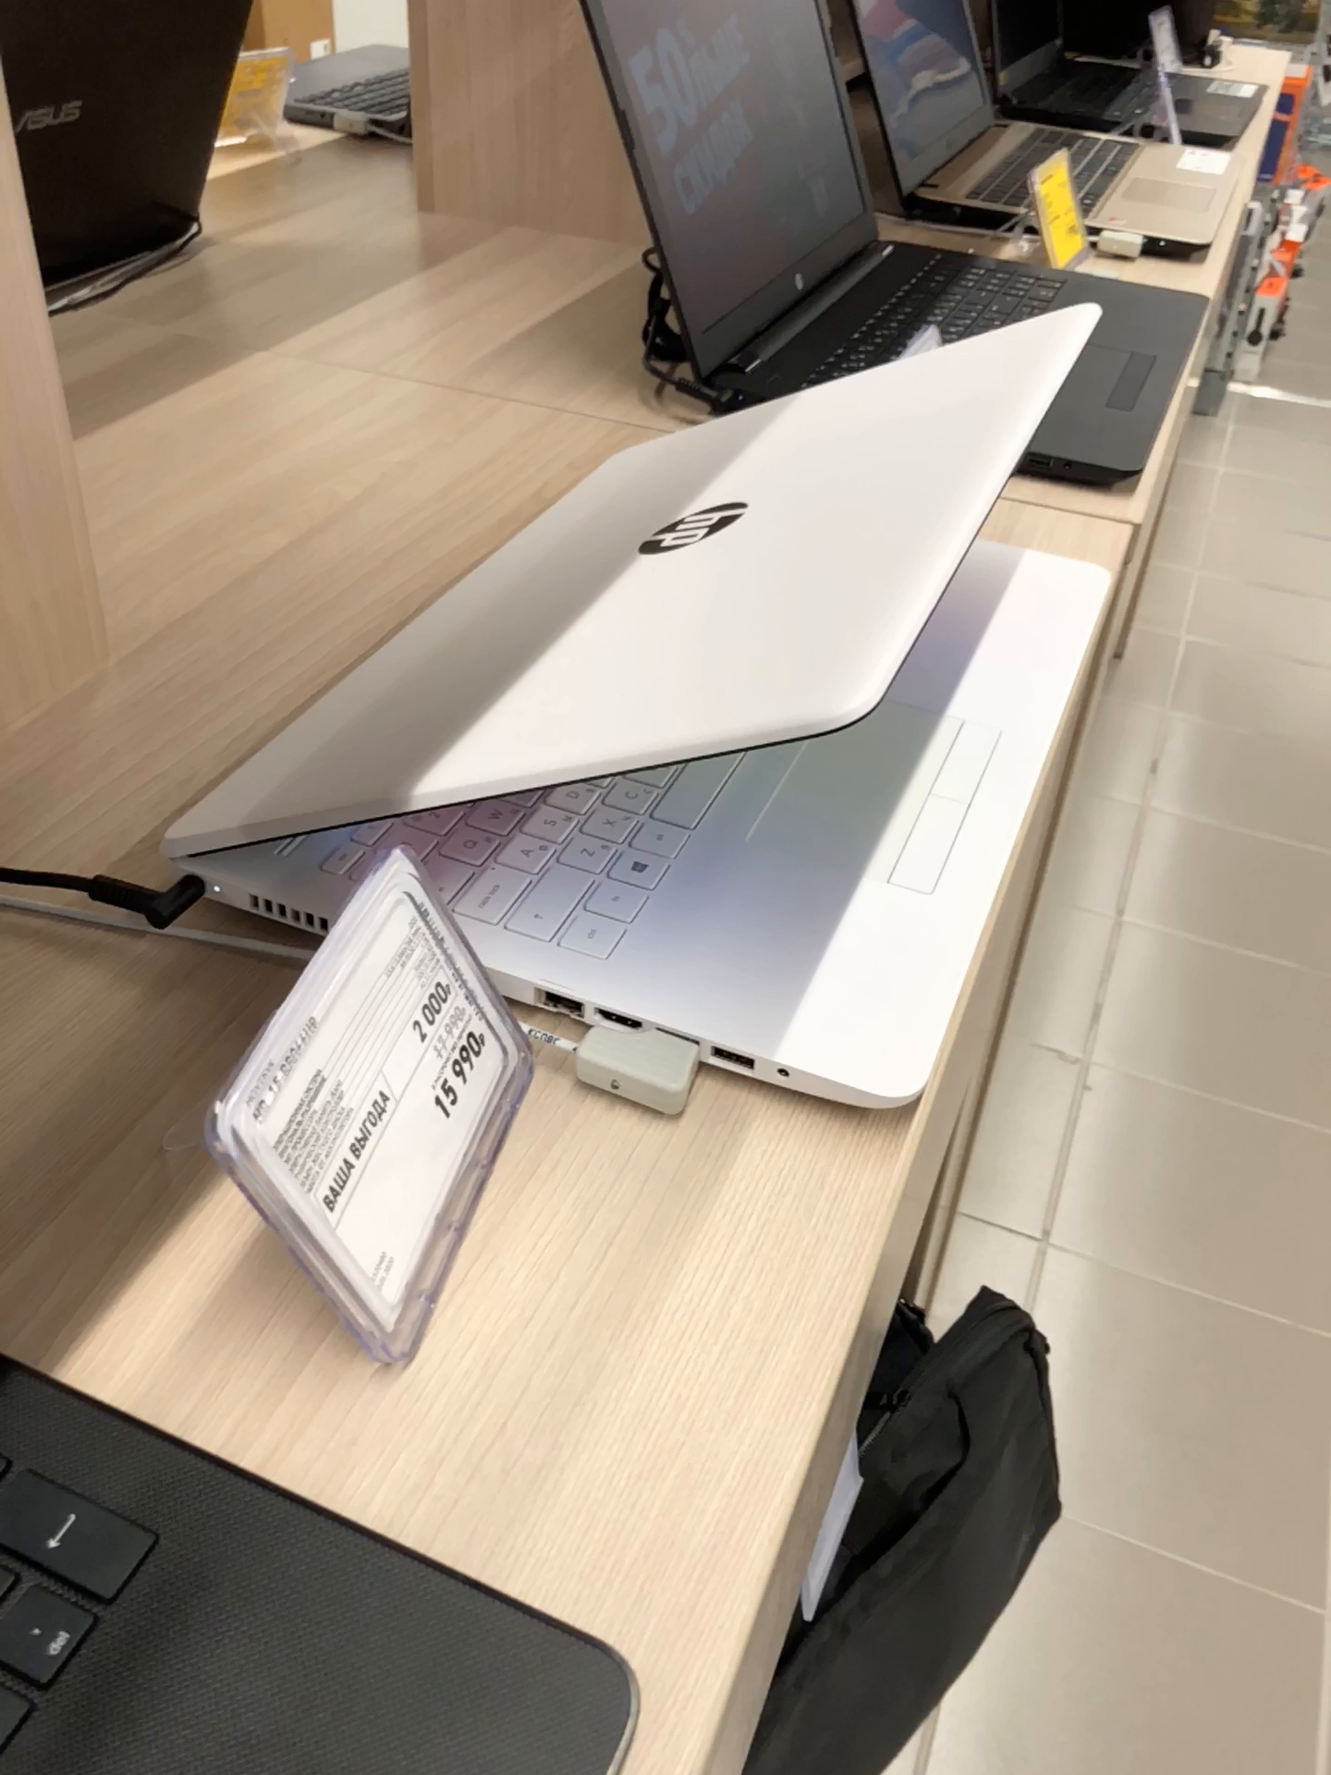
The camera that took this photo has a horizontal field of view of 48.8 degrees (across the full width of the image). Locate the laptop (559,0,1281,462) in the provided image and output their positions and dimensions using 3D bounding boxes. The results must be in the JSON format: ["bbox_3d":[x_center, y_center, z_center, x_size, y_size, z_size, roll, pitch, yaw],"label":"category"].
[{"bbox_3d":[0.171,-0.462,0.922,0.349,0.219,0.393,15,36,15],"label":"laptop"}]

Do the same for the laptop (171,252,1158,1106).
[{"bbox_3d":[0.034,-0.118,0.546,0.232,0.103,0.370,18,39,14],"label":"laptop"}]

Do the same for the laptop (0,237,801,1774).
[{"bbox_3d":[-0.240,0.121,0.111,0.368,0.203,0.388,16,38,16],"label":"laptop"}]
